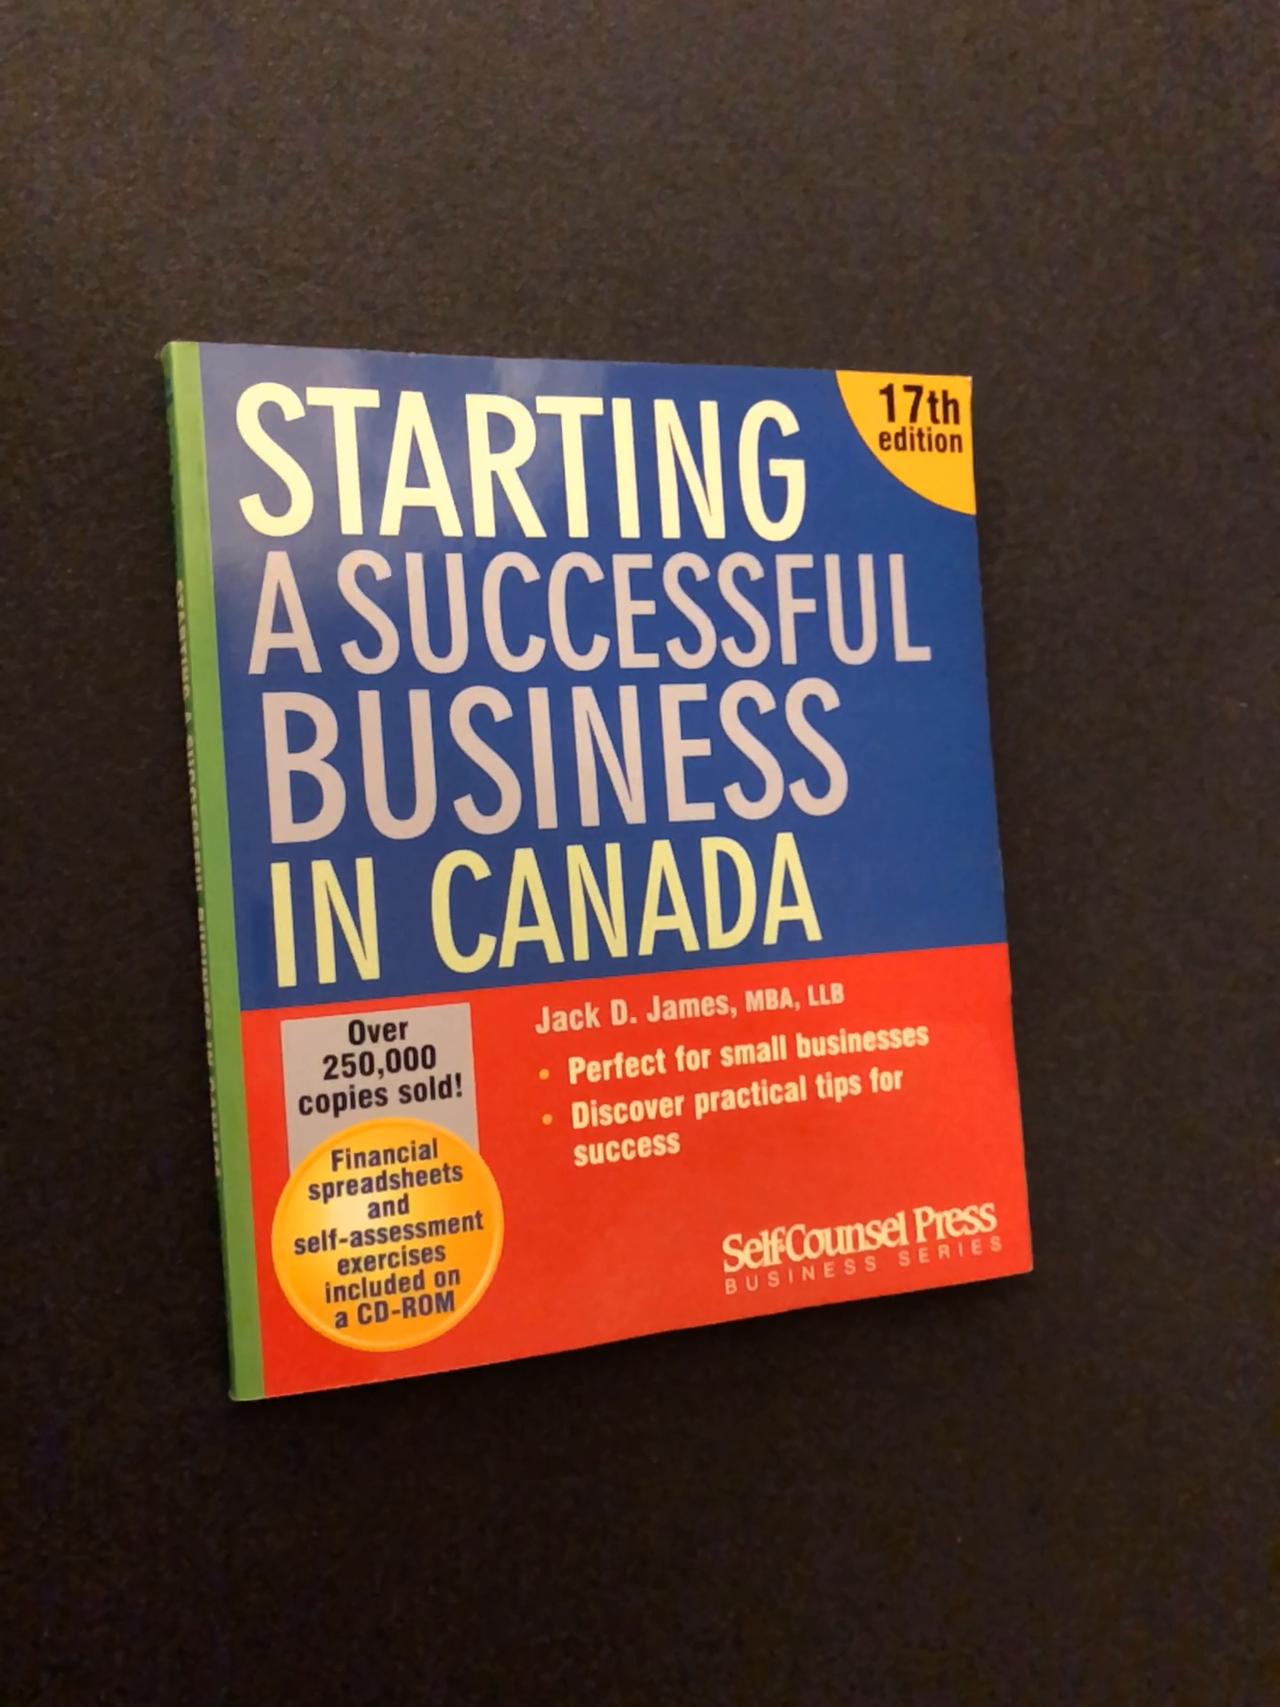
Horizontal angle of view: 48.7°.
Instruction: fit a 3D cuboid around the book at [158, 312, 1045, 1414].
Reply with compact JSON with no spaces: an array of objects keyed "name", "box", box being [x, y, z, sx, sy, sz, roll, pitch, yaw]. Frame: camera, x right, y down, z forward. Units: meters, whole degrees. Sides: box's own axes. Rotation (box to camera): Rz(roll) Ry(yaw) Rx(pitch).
[{"name":"book","box":[-0.007,-0.004,0.366,0.210,0.040,0.247,-3,88,-17]}]
